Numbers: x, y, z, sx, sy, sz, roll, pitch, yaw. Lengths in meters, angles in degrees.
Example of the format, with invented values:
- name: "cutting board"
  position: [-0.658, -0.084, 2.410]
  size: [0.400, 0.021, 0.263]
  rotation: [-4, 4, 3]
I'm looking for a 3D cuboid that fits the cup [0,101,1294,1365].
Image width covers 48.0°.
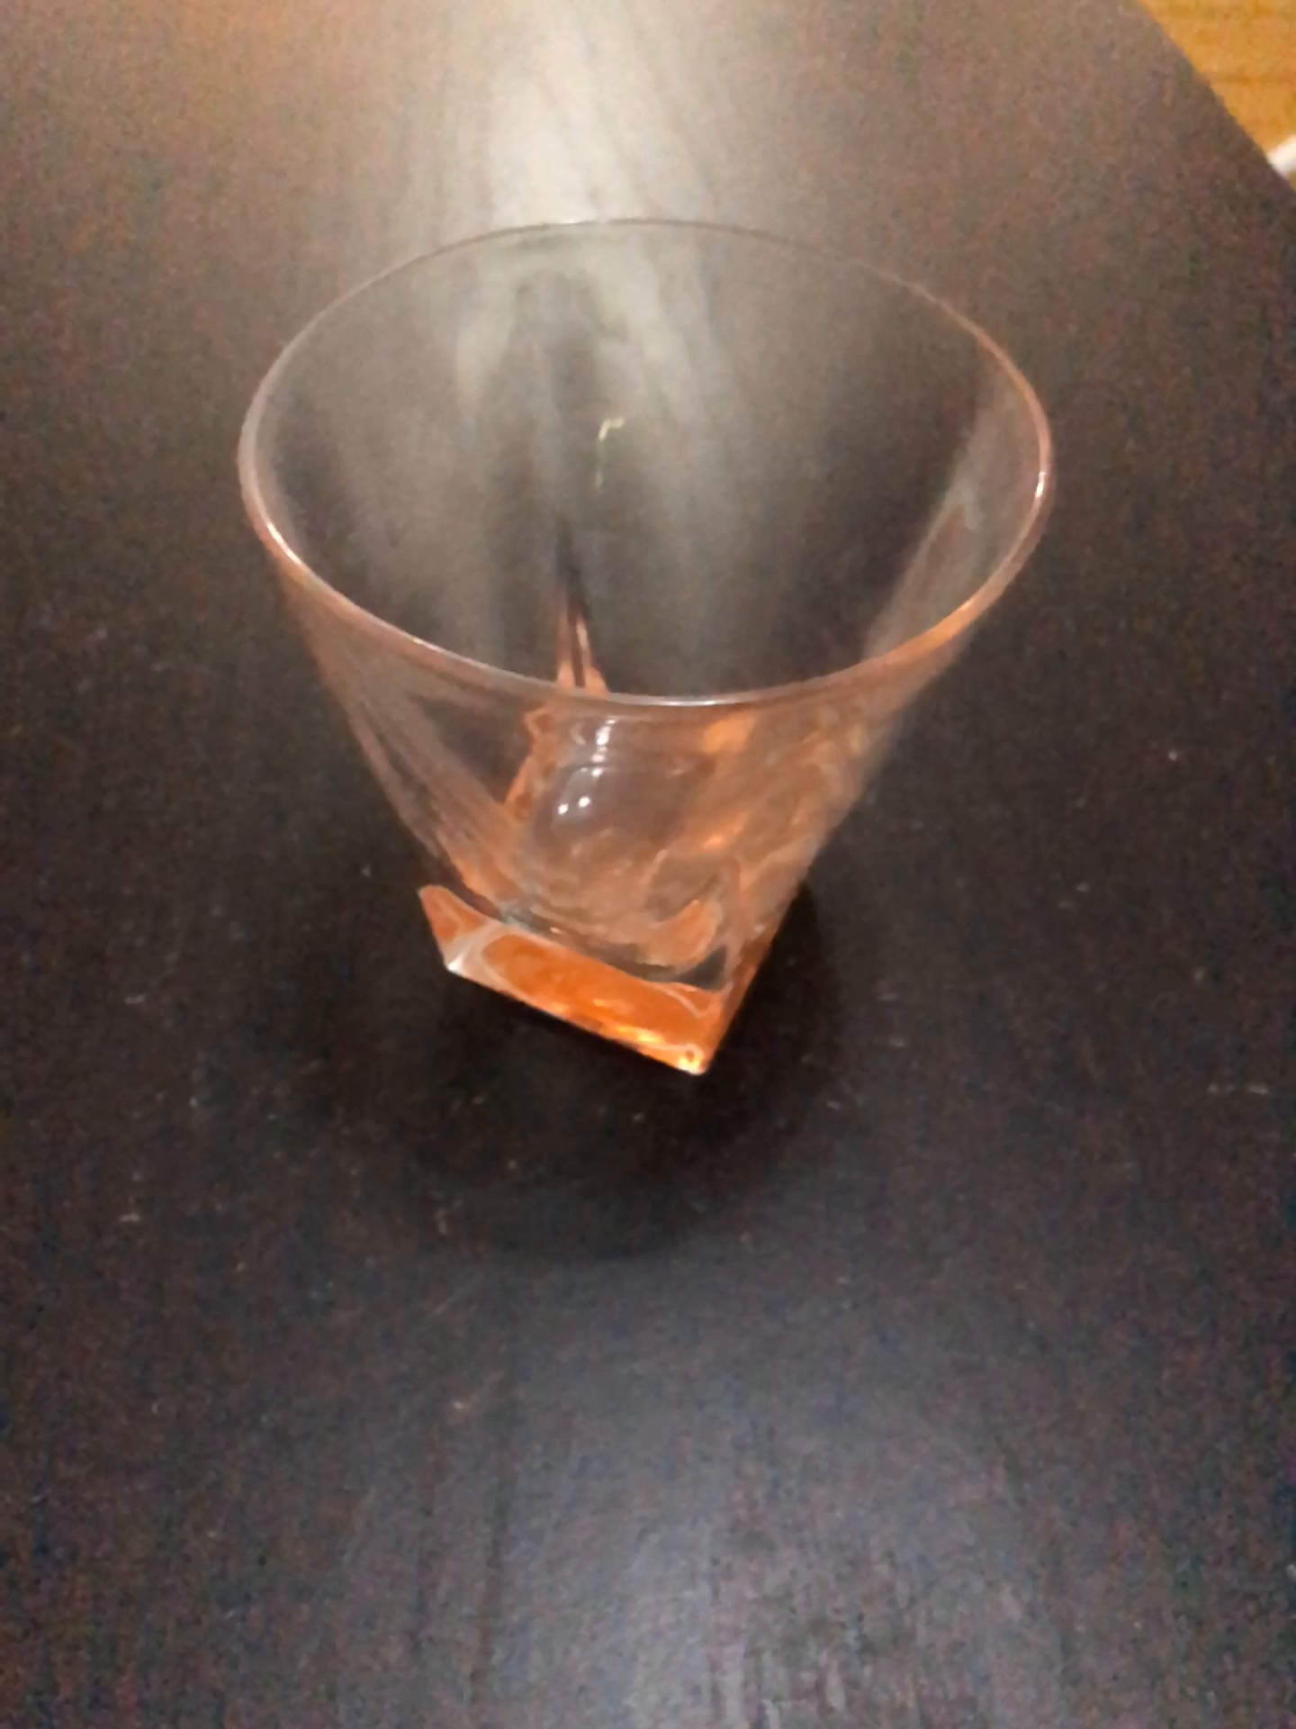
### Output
- name: "cup"
  position: [0.004, -0.023, 0.206]
  size: [0.110, 0.099, 0.111]
  rotation: [2, 51, -2]
